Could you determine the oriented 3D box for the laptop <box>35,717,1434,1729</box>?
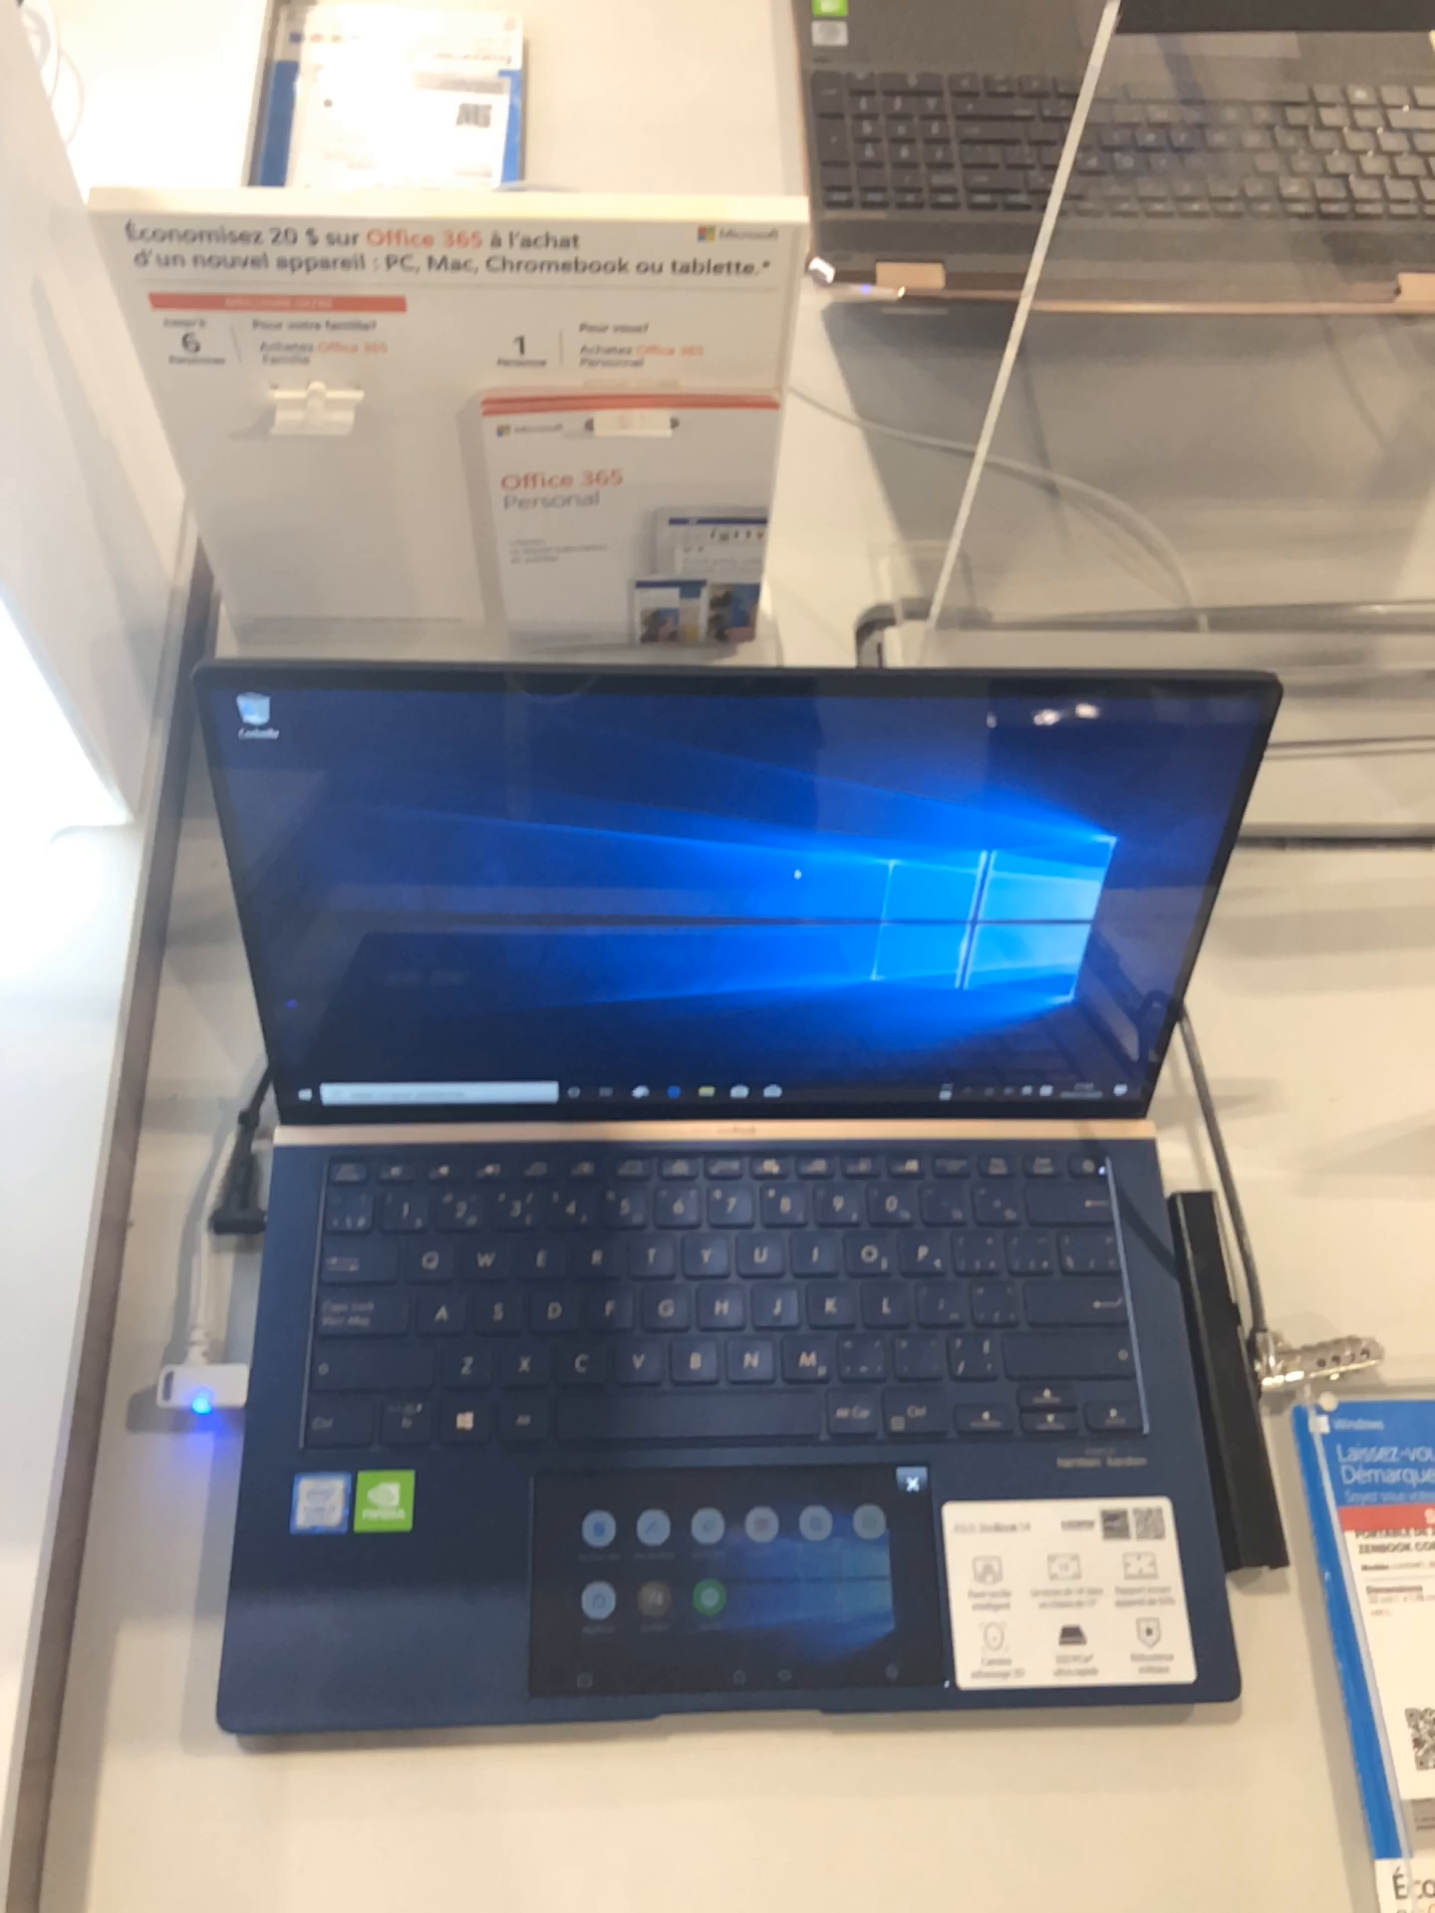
[{"bbox_3d":[0.008,0.082,0.470,0.308,0.180,0.253,0,61,-4],"label":"laptop"}]
